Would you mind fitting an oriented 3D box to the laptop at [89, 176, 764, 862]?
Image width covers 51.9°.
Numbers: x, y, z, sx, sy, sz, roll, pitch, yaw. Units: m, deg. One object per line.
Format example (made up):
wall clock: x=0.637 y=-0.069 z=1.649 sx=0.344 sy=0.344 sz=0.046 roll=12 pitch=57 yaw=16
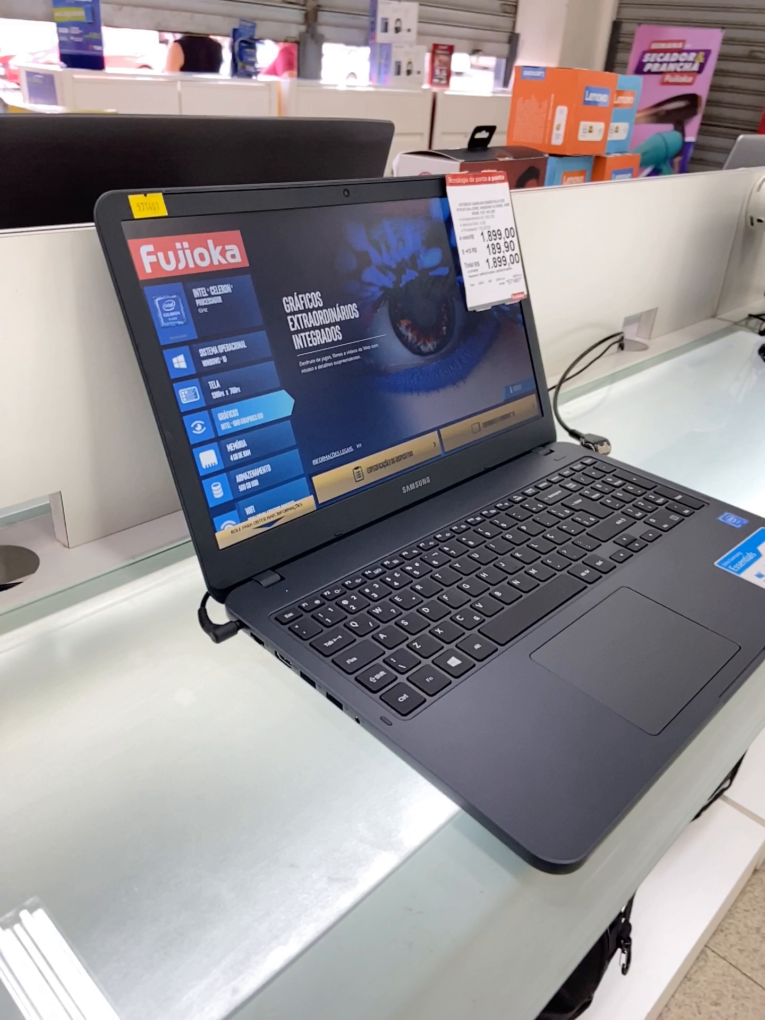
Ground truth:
laptop: x=0.086 y=-0.069 z=0.493 sx=0.368 sy=0.207 sz=0.347 roll=-23 pitch=39 yaw=-40
